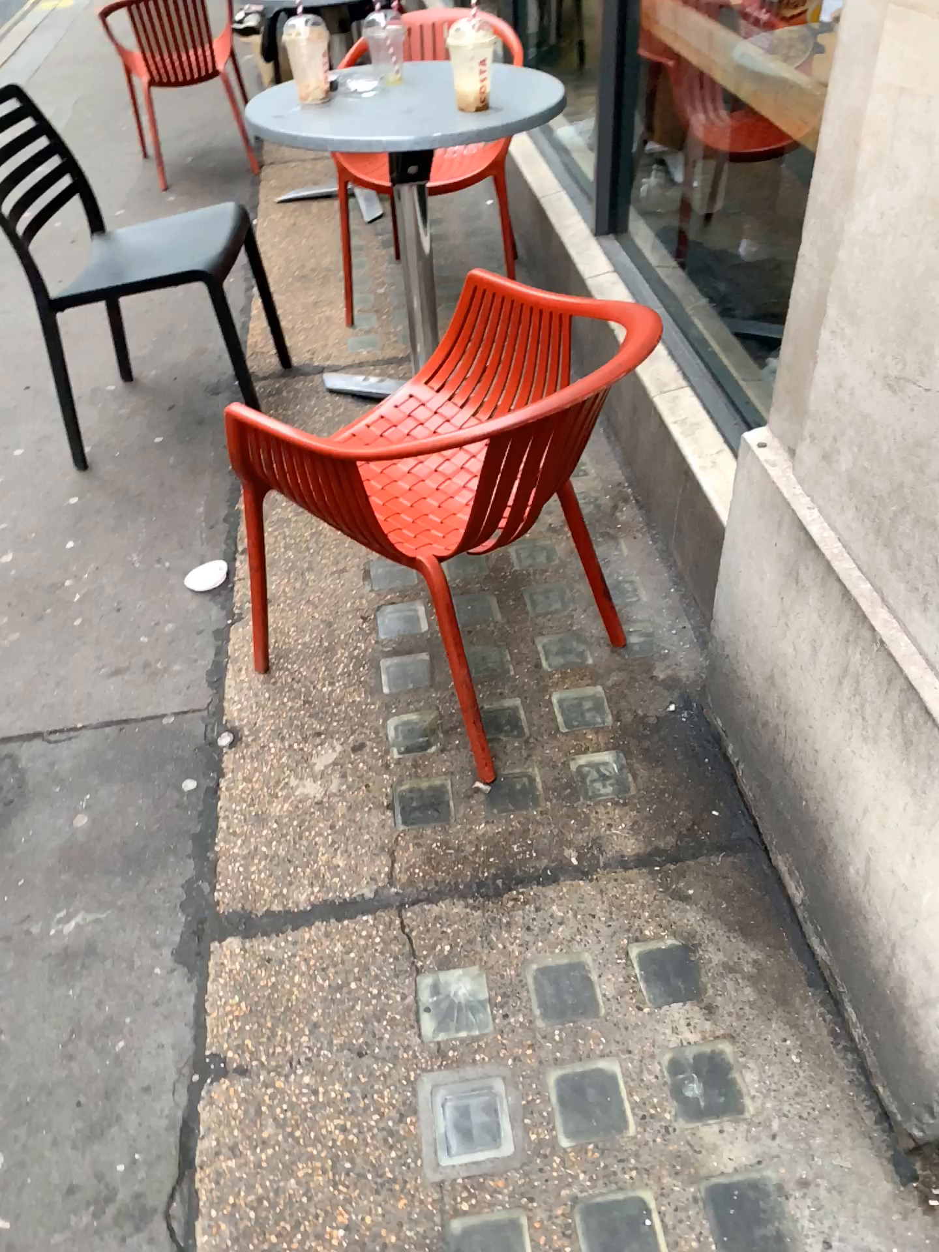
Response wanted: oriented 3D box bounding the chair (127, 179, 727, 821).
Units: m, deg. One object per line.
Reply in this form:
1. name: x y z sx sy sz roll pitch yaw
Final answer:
1. chair: -0.039 -0.234 1.564 0.613 0.693 0.583 27 50 30
